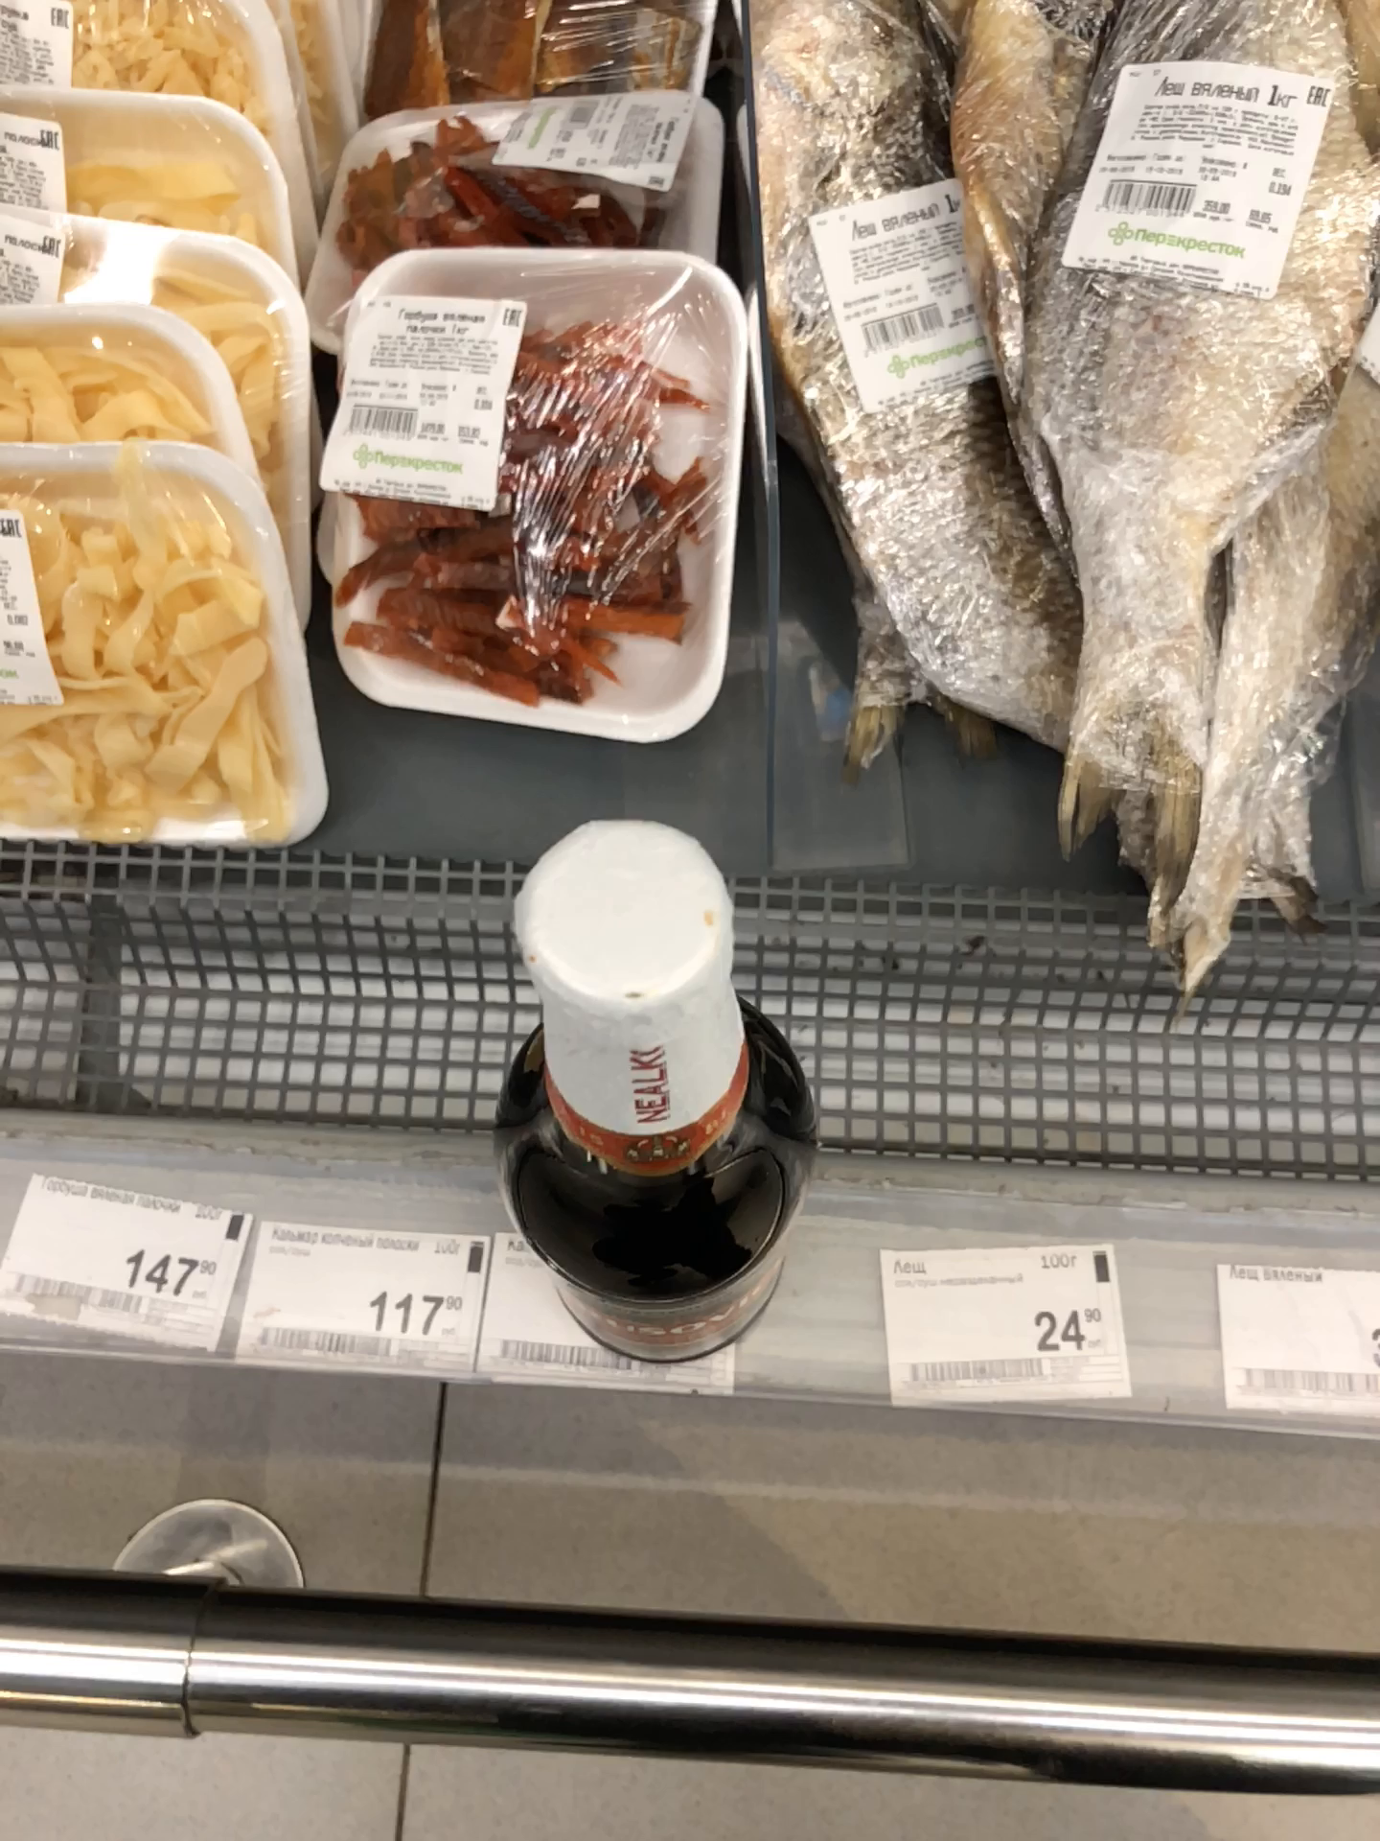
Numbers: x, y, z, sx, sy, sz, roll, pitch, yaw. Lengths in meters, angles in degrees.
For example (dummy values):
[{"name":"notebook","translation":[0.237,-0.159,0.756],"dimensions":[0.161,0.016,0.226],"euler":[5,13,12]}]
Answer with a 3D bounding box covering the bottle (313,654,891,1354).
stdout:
[{"name":"bottle","translation":[-0.010,0.044,0.324],"dimensions":[0.070,0.270,0.070],"euler":[0,69,0]}]
